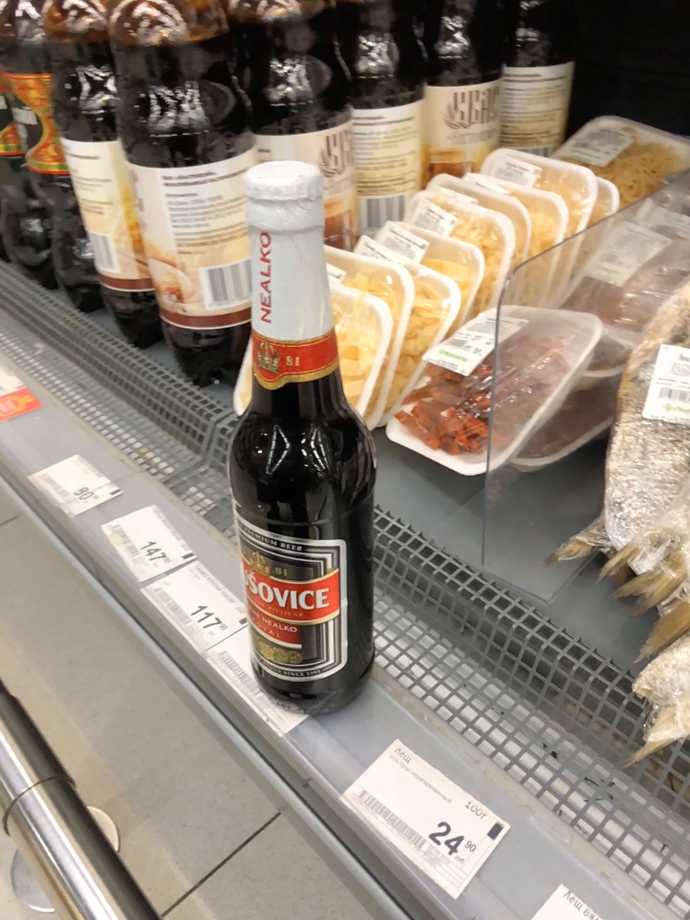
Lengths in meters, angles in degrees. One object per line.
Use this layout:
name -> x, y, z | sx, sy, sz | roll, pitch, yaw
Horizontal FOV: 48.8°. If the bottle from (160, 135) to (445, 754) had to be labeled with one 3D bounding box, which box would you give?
bottle -> -0.012, 0.008, 0.342 | 0.070, 0.268, 0.070 | -1, 35, 1
